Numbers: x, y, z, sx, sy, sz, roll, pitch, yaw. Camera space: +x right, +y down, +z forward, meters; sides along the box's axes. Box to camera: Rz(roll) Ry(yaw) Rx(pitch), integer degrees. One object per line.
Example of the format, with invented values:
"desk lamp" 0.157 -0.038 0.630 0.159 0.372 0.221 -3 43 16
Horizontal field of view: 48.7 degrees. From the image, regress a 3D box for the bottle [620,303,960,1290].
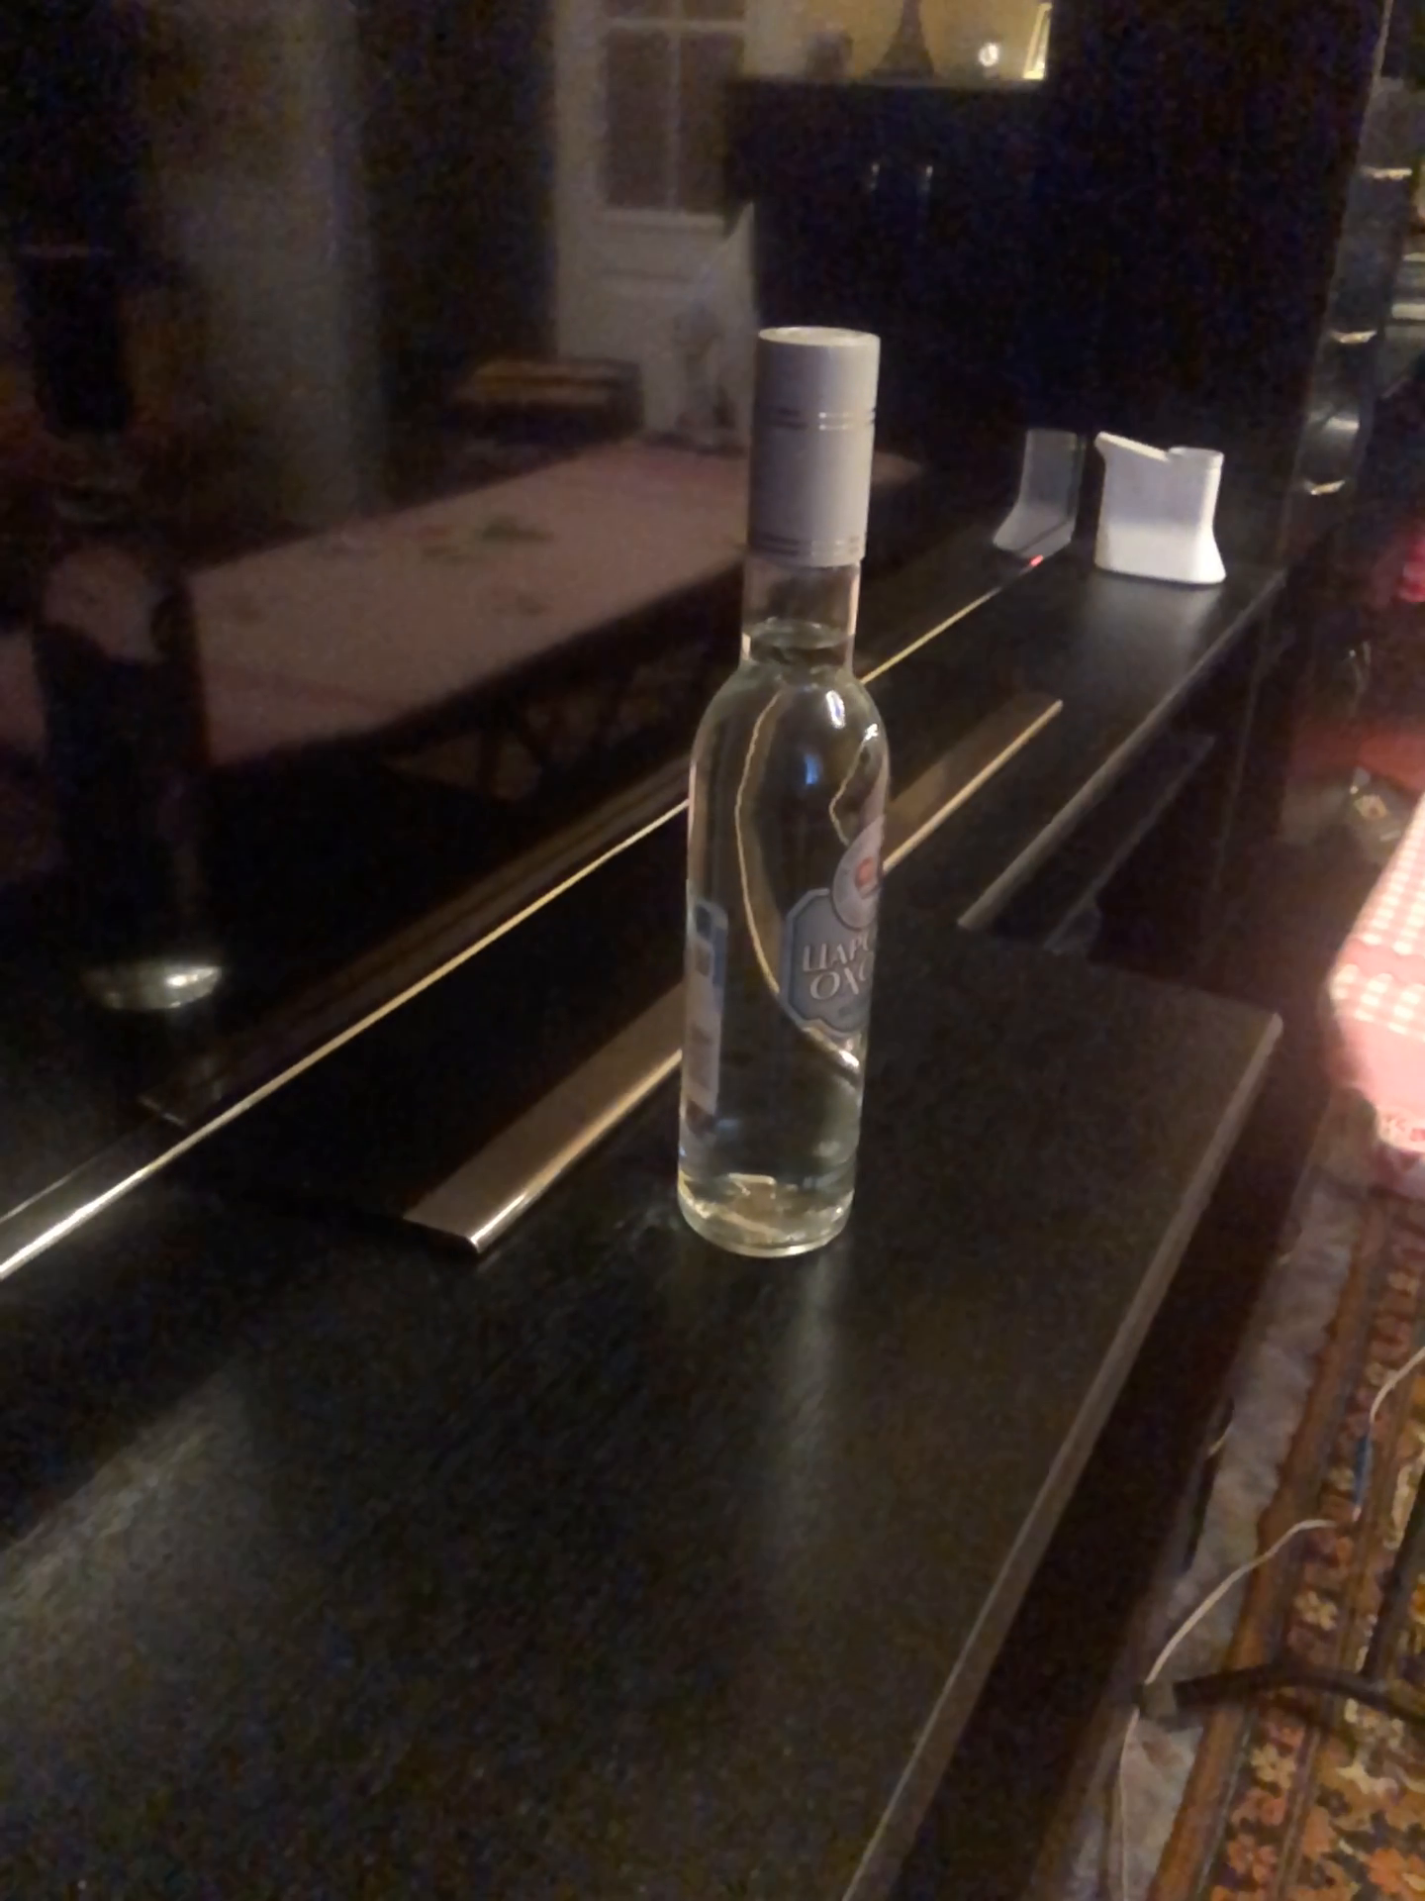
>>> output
"bottle" 0.018 -0.038 0.486 0.067 0.290 0.065 1 29 -1
